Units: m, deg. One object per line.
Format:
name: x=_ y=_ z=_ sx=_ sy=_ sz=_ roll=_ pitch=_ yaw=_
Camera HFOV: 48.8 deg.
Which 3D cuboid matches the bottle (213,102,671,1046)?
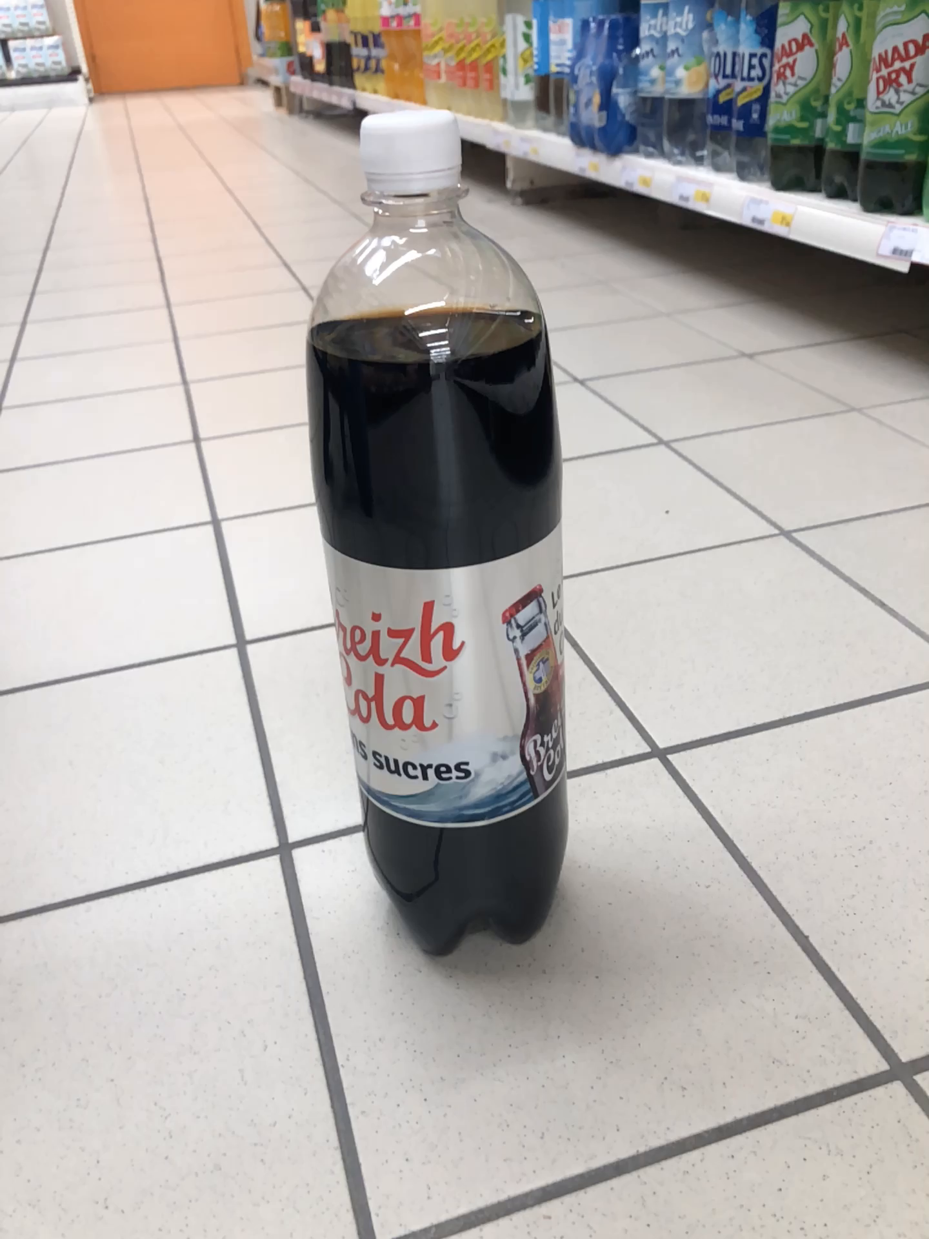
bottle: x=0.001 y=-0.008 z=0.376 sx=0.090 sy=0.318 sz=0.100 roll=-27 pitch=37 yaw=-35
